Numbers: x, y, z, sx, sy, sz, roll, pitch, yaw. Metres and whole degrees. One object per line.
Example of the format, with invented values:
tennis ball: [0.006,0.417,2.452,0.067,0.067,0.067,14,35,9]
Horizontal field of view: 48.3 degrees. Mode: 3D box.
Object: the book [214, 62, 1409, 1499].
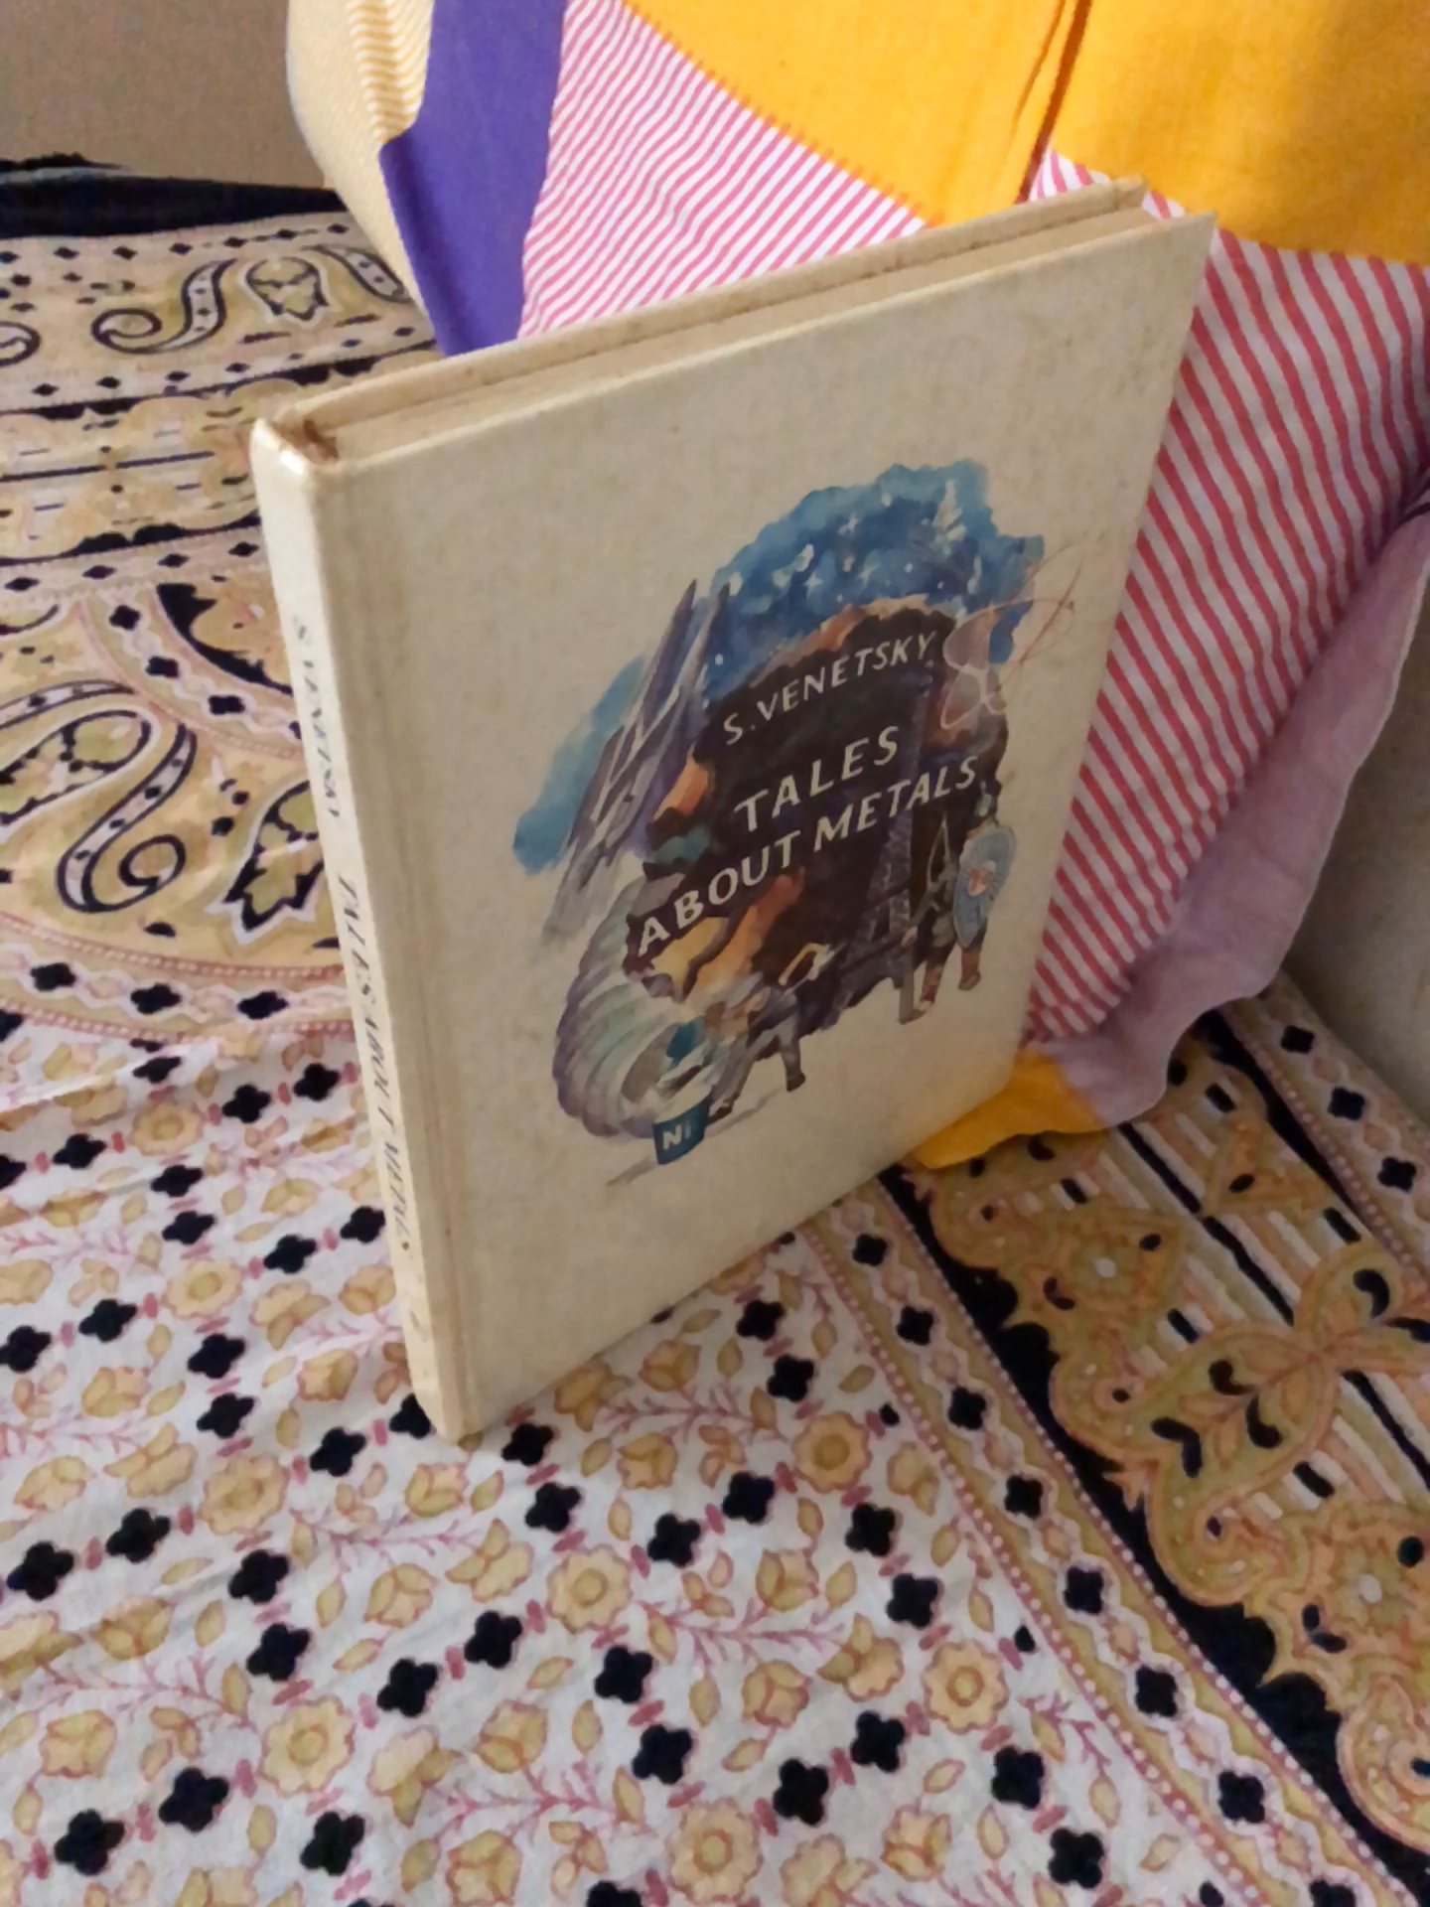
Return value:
book: [0.014,-0.026,0.316,0.190,0.249,0.050,-24,50,-31]
